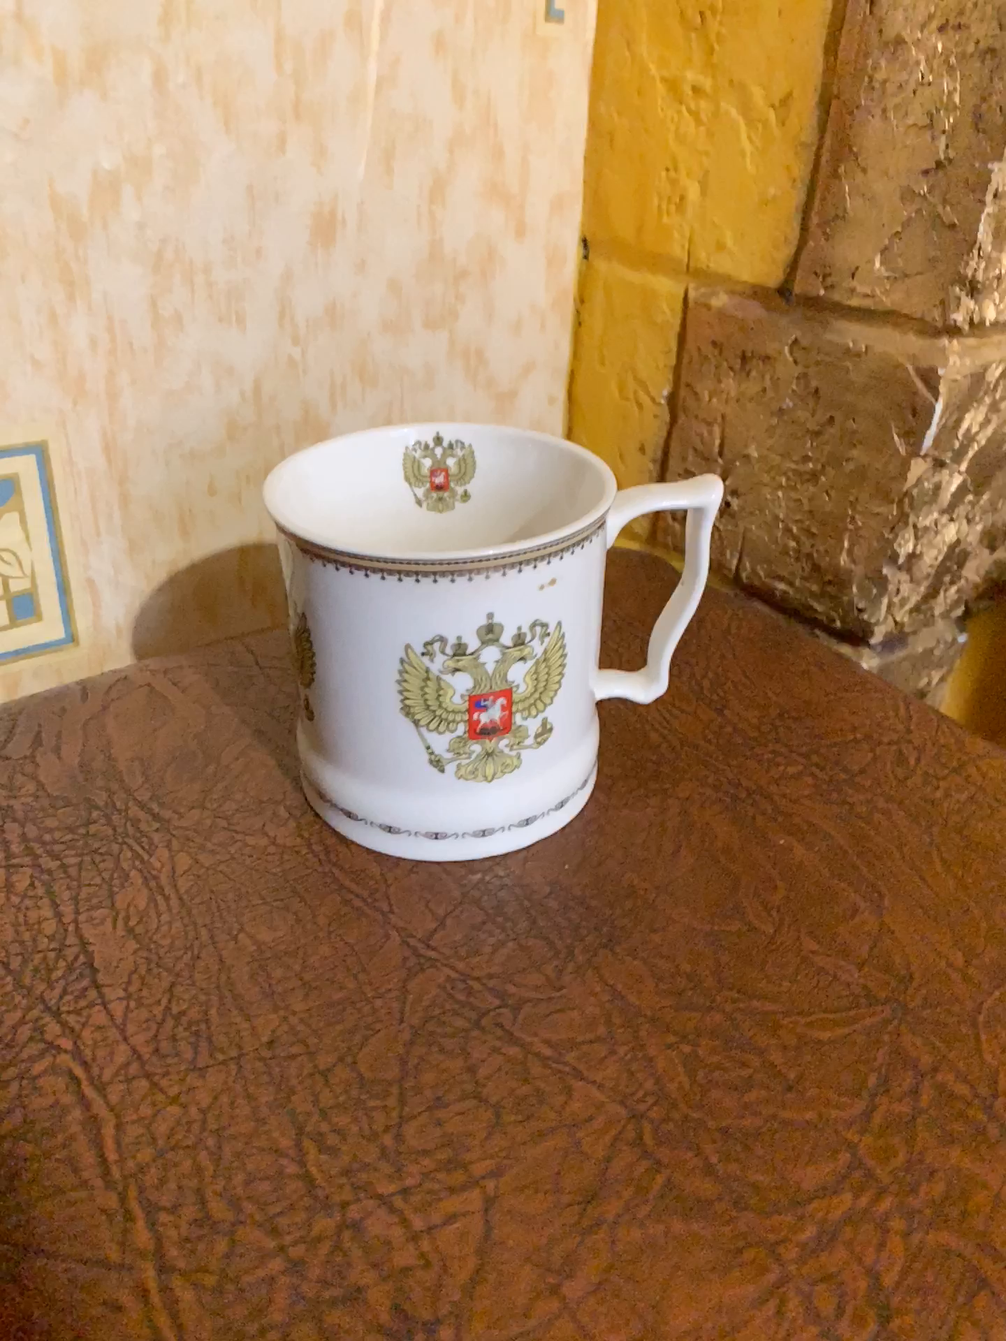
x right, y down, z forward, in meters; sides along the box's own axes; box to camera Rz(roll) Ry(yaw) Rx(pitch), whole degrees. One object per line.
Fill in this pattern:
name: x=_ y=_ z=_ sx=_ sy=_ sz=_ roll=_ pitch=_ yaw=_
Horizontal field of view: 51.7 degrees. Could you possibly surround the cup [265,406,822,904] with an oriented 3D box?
cup: x=0.002 y=-0.012 z=0.302 sx=0.126 sy=0.097 sz=0.100 roll=-5 pitch=31 yaw=-14
